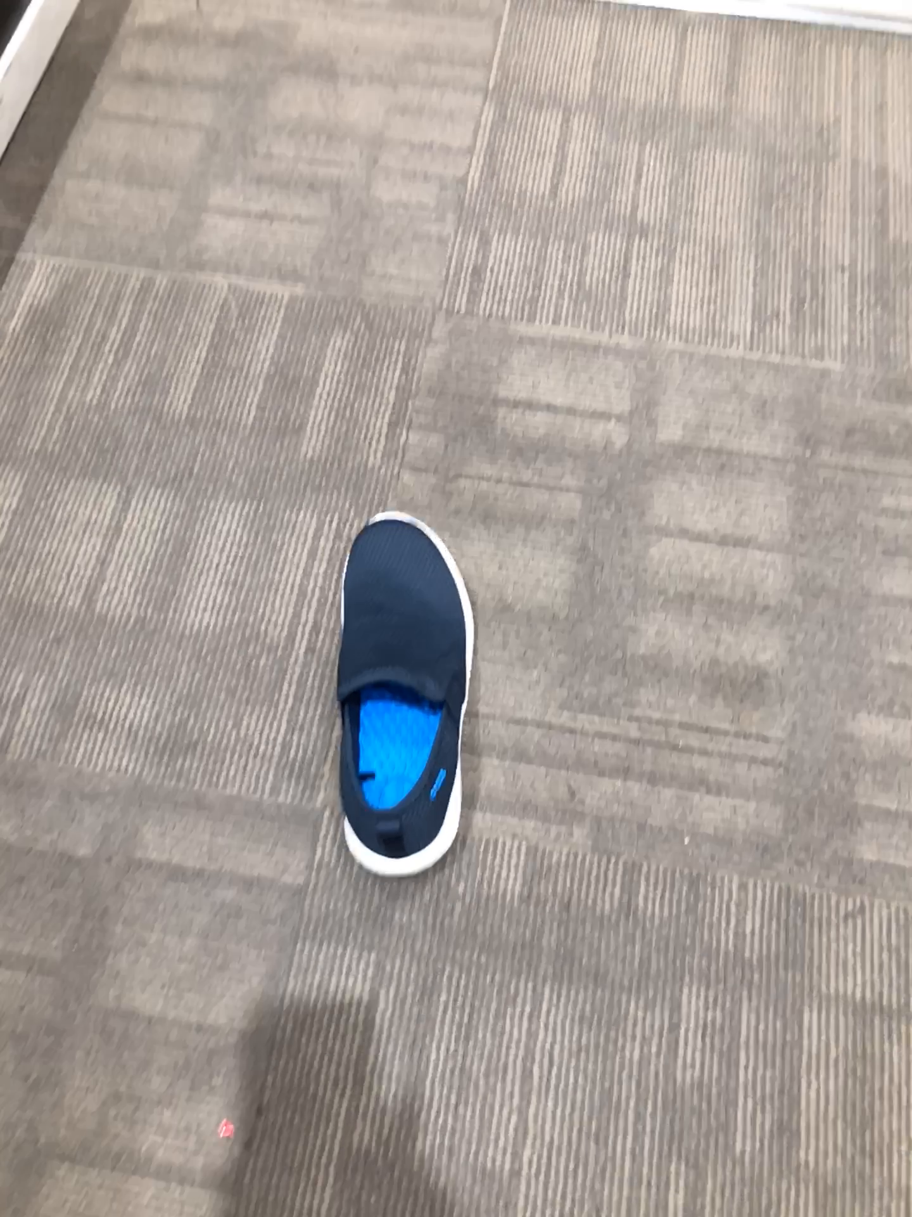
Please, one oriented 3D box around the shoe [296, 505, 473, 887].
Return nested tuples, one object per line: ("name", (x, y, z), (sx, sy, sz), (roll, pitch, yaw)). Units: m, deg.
("shoe", (-0.048, 0.068, 0.786), (0.110, 0.120, 0.271), (2, 66, 1))
